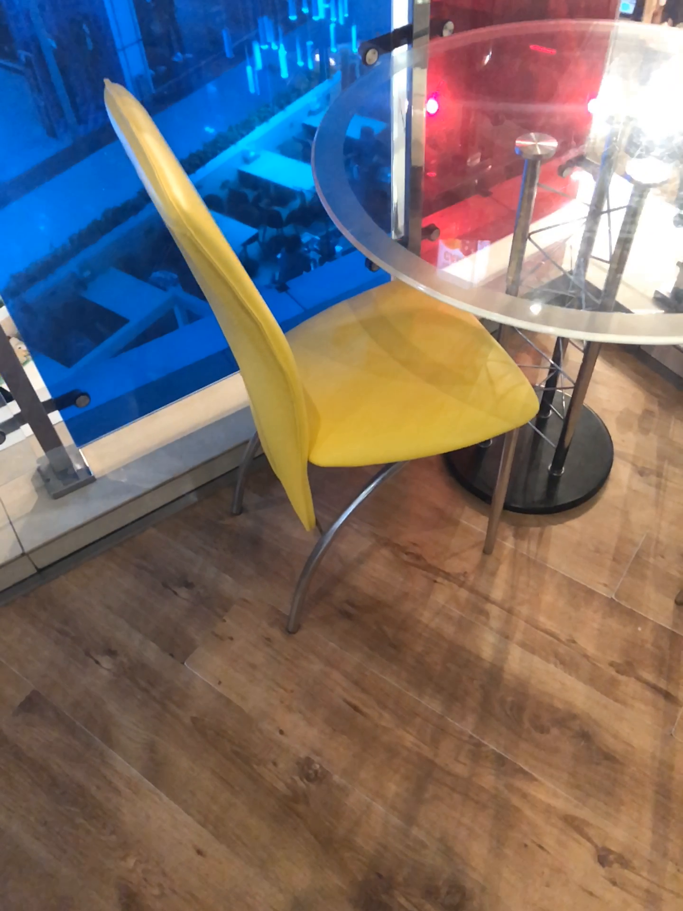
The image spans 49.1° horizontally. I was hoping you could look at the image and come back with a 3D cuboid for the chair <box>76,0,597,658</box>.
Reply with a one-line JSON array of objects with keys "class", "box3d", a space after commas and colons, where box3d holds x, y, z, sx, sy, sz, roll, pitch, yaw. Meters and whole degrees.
[{"class": "chair", "box3d": [-0.008, -0.138, 1.243, 0.490, 0.897, 0.431, -21, 53, -13]}]
